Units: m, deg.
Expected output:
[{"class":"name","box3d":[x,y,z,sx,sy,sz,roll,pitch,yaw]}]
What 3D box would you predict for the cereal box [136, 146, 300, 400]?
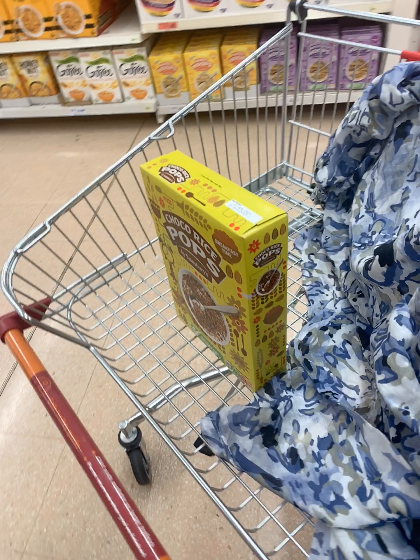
[{"class":"cereal box","box3d":[0.010,-0.003,0.544,0.060,0.267,0.201,-31,49,-24]}]
